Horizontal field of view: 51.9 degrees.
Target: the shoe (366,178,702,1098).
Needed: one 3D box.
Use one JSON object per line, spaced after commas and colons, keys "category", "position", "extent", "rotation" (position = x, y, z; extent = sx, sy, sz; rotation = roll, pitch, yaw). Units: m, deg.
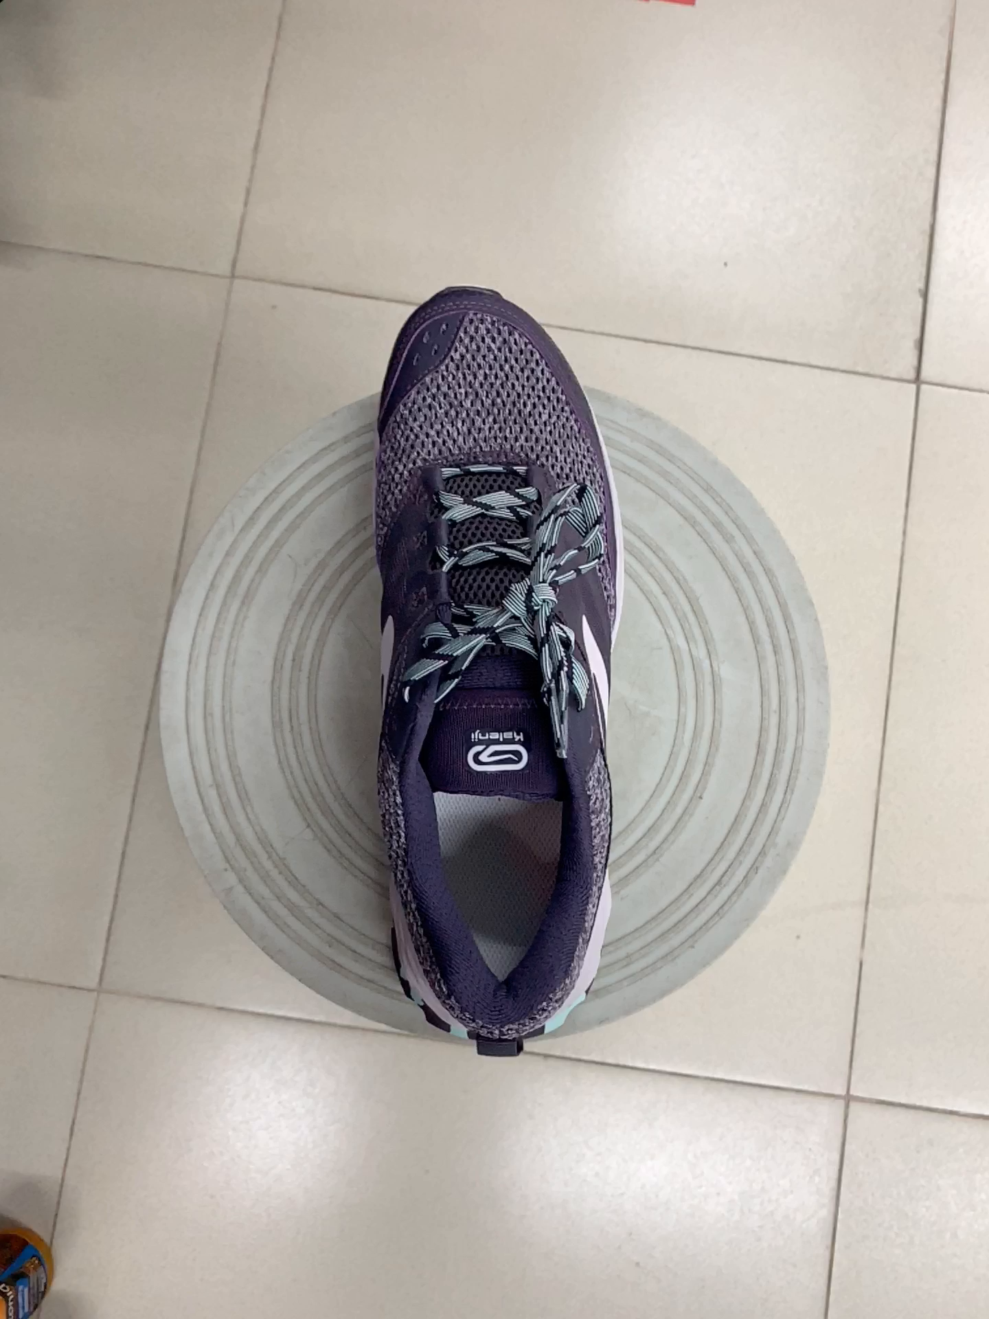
{"category": "shoe", "position": [0.009, -0.008, 0.373], "extent": [0.100, 0.110, 0.290], "rotation": [0, 83, -2]}
